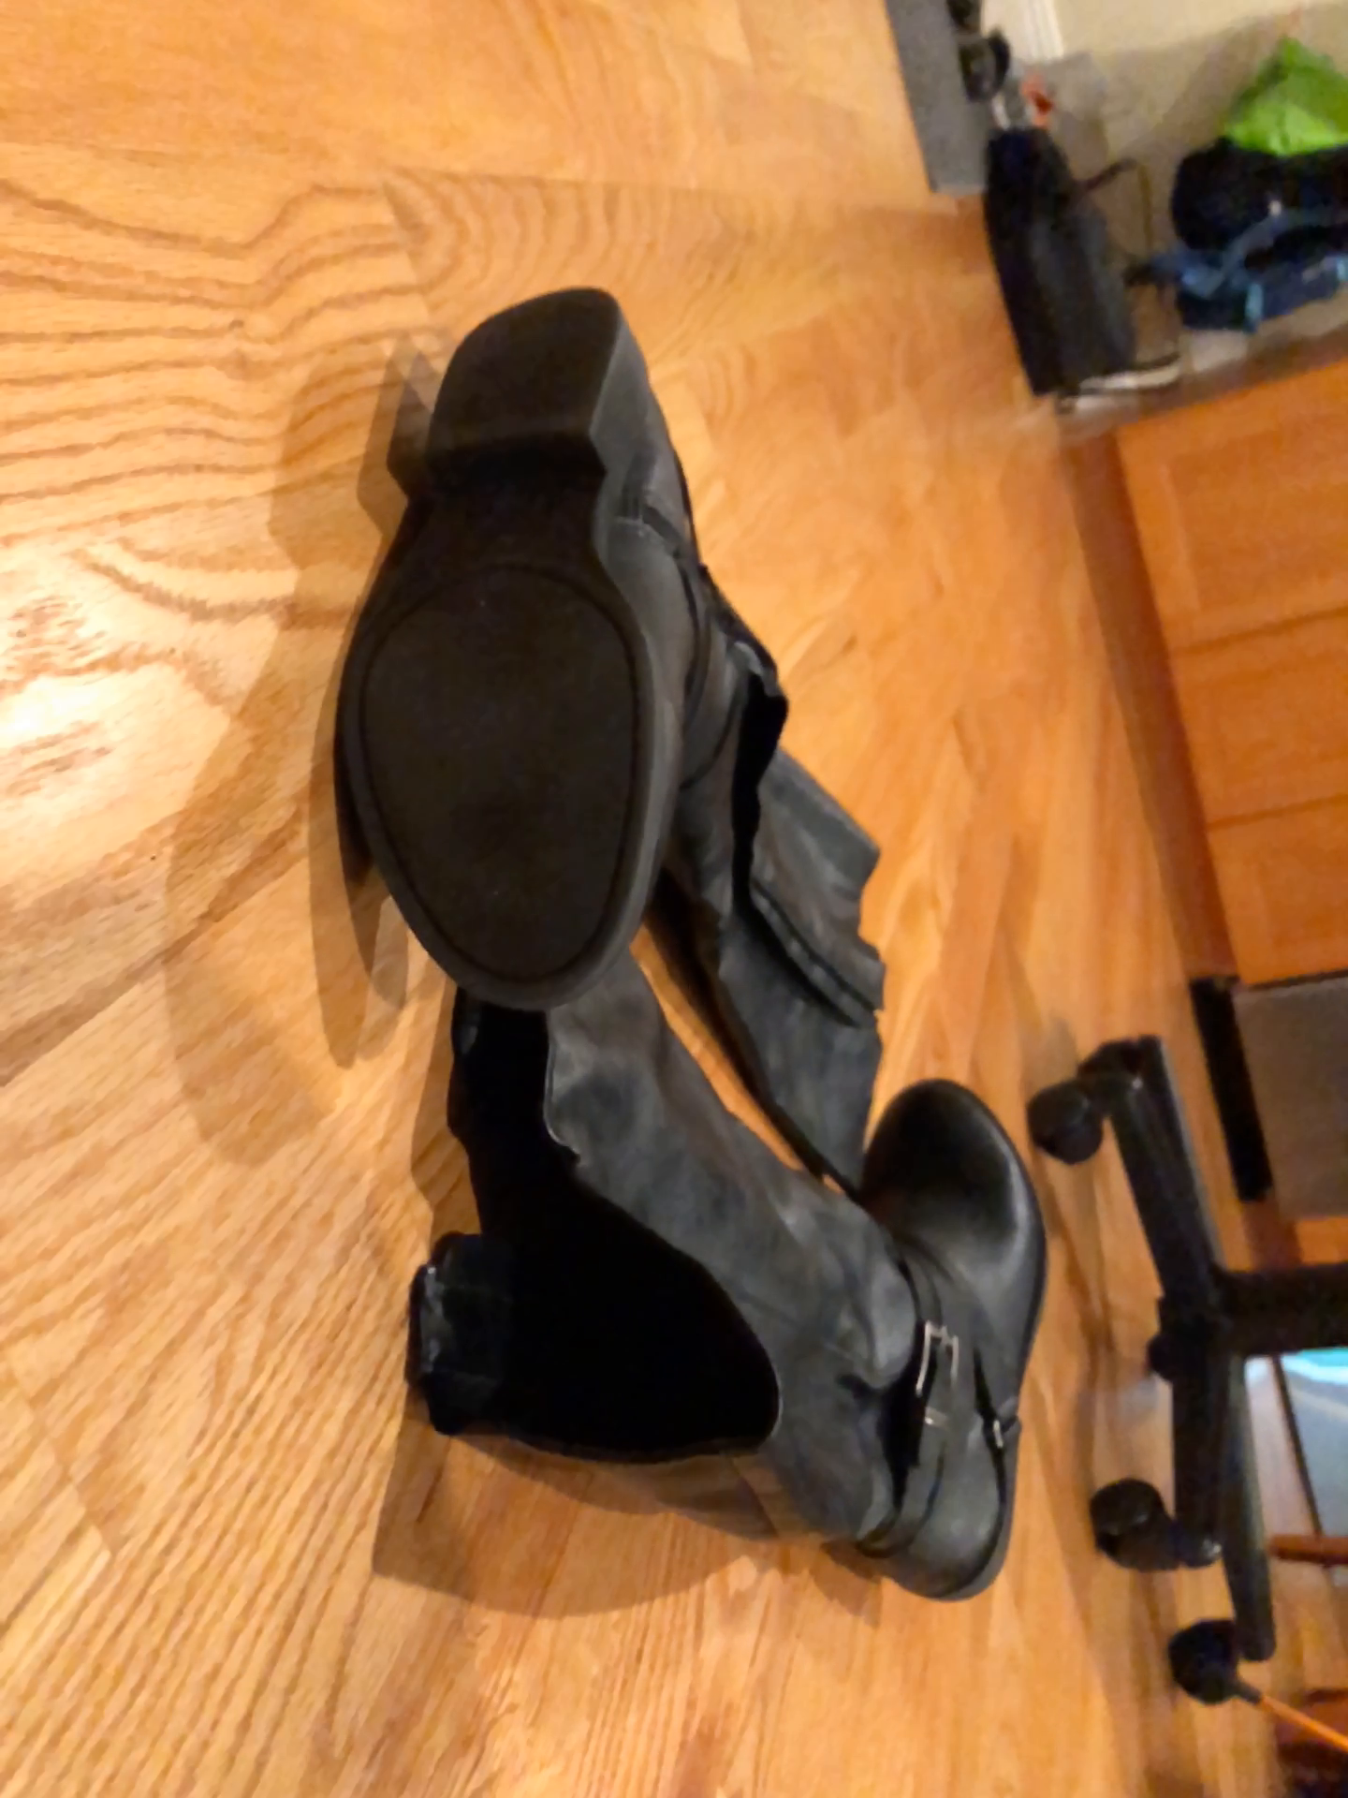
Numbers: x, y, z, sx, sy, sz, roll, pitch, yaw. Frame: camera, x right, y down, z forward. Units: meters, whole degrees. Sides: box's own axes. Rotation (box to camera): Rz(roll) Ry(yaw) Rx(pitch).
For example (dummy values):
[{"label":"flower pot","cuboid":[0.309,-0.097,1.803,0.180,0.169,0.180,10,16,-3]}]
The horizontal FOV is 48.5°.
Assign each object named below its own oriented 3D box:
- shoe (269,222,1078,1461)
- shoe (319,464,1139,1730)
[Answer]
[{"label":"shoe","cuboid":[0.041,0.014,0.538,0.394,0.094,0.251,53,32,-46]},{"label":"shoe","cuboid":[0.060,0.106,0.536,0.404,0.104,0.291,53,32,-48]}]
